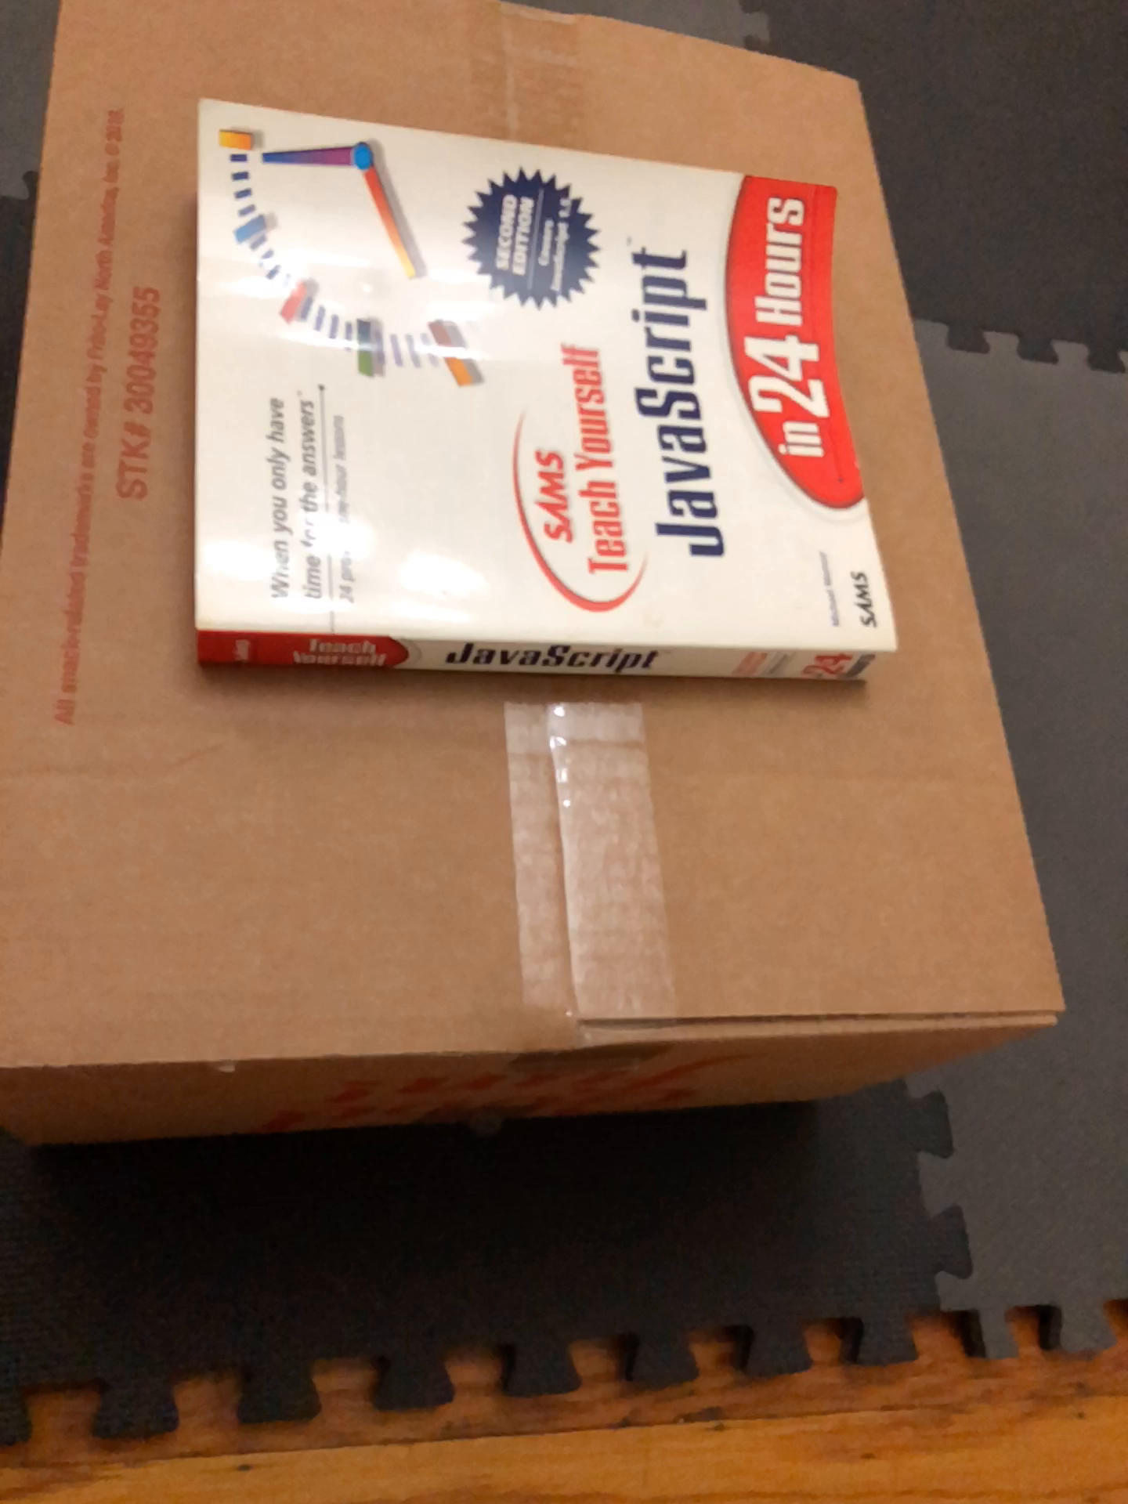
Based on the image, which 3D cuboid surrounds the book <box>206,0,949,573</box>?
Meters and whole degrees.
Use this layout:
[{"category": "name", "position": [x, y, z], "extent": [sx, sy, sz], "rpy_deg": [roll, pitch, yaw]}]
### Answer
[{"category": "book", "position": [0.000, -0.162, 0.440], "extent": [0.240, 0.030, 0.201], "rpy_deg": [0, 68, -16]}]
